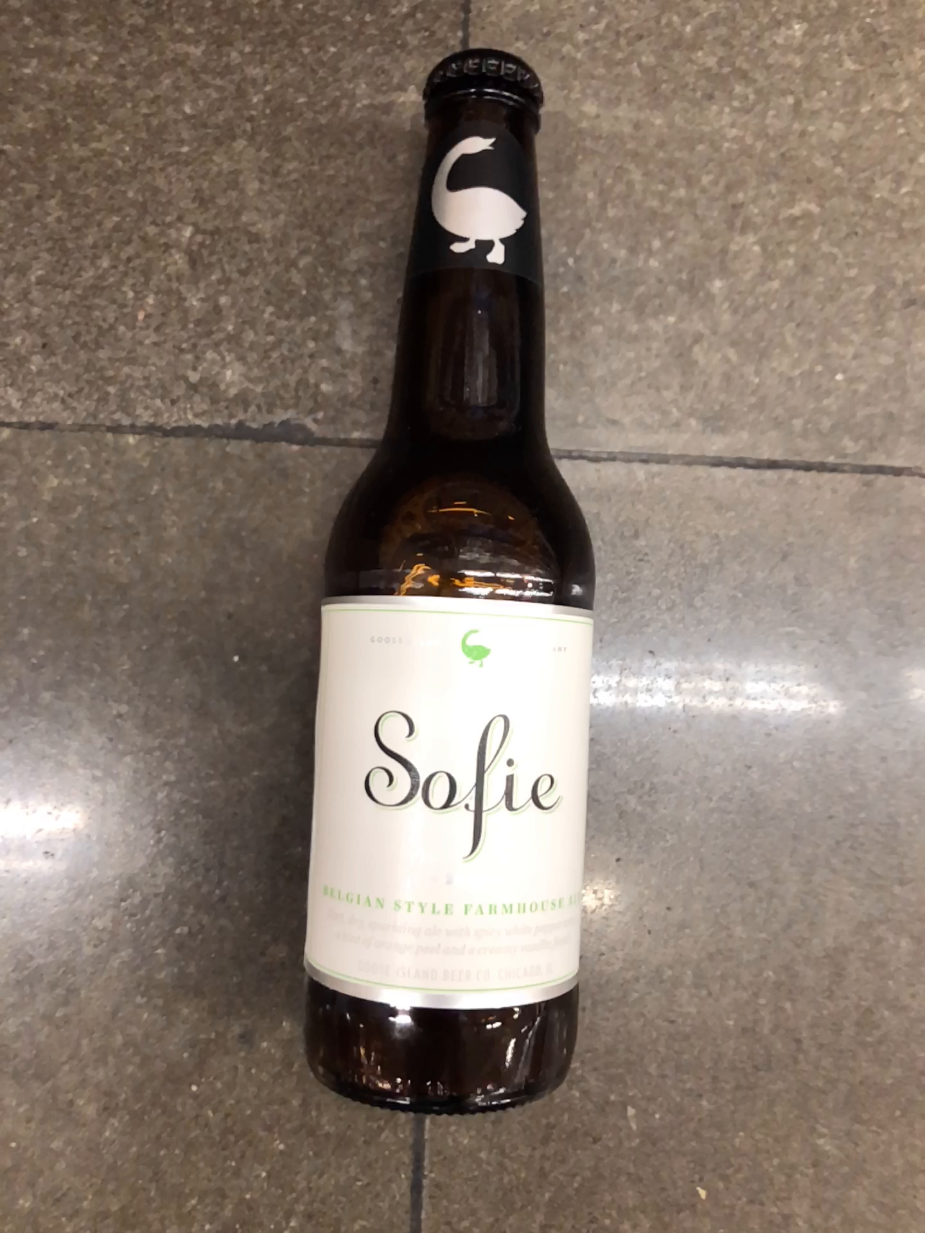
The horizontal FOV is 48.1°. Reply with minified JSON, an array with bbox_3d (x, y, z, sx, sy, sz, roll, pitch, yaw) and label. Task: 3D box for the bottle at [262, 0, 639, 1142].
[{"bbox_3d":[-0.002,-0.017,0.228,0.070,0.040,0.240,1,87,-2],"label":"bottle"}]
